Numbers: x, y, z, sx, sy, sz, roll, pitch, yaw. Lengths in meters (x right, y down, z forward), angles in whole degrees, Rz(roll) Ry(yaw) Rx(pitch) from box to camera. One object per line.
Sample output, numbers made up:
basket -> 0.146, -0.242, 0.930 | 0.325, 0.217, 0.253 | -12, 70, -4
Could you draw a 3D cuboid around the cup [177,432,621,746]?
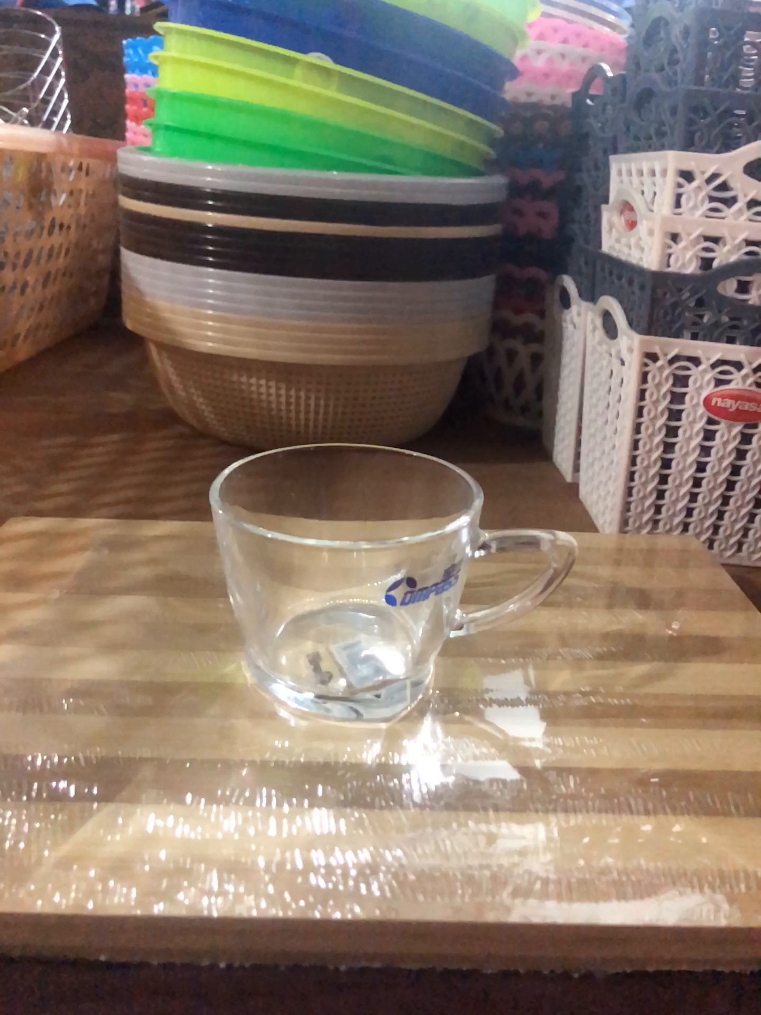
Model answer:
cup -> 0.005, 0.020, 0.252 | 0.110, 0.060, 0.070 | 4, 23, 3
